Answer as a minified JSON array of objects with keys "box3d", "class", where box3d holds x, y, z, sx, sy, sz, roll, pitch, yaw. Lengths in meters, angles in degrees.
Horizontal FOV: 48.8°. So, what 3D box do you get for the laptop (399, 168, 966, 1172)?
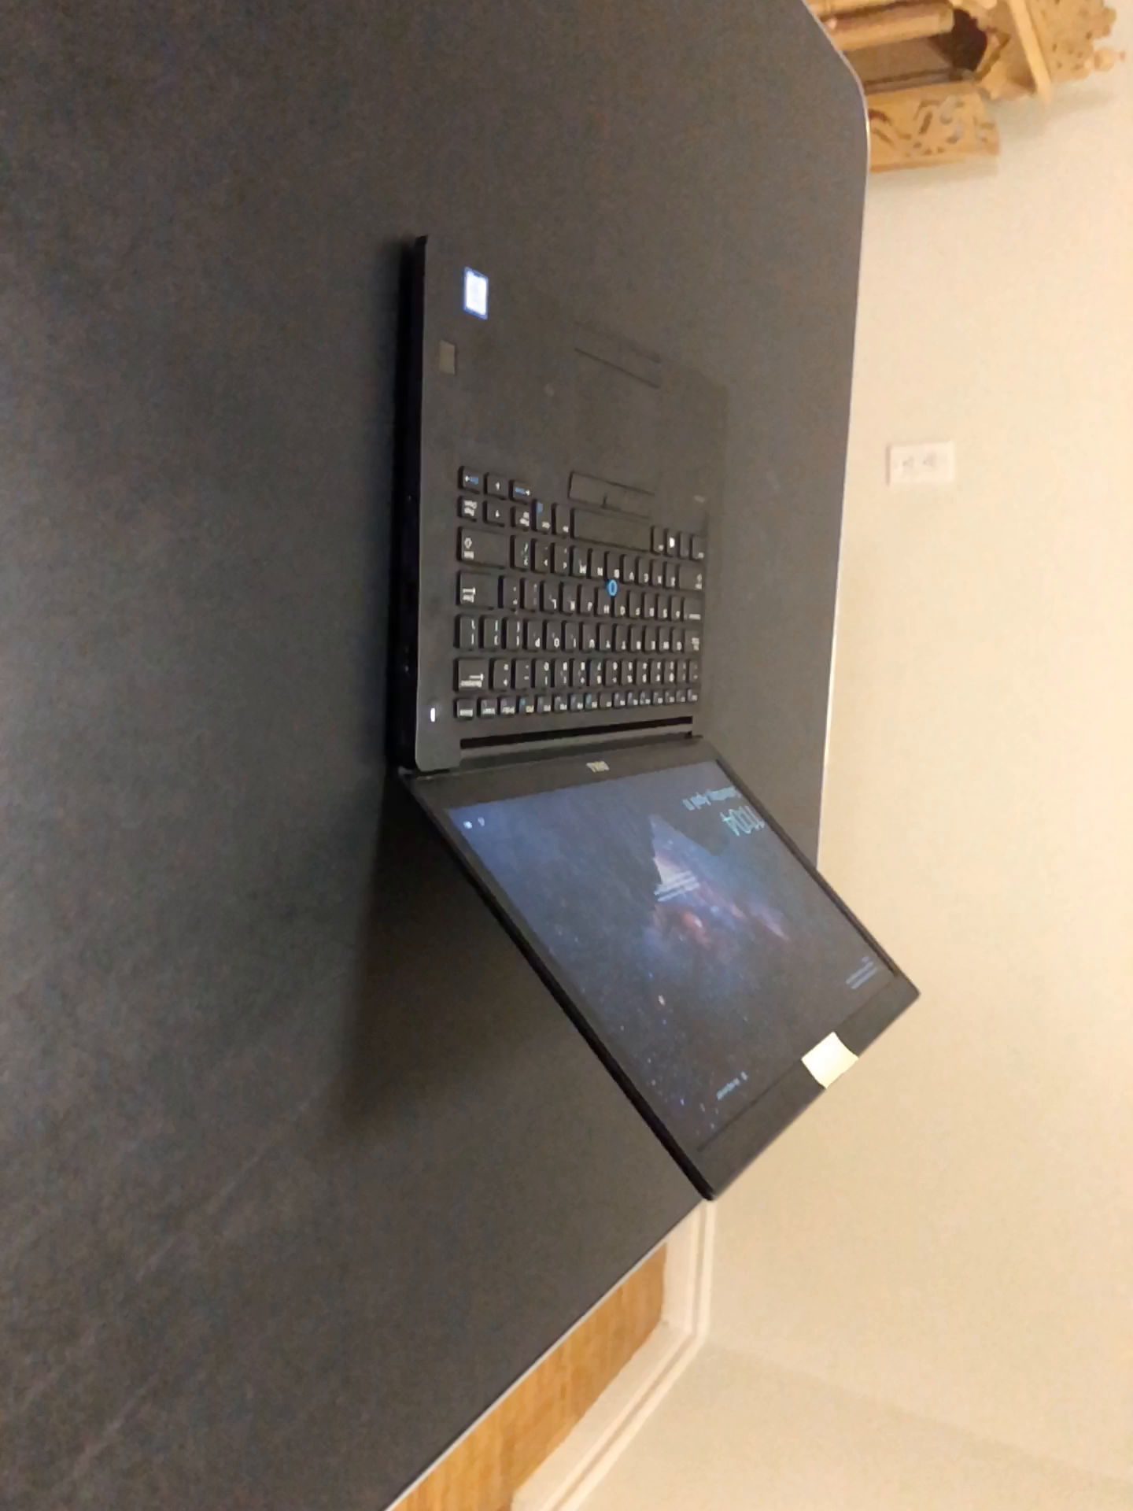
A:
[{"box3d":[0.079,-0.040,0.630,0.321,0.140,0.367,-8,103,-61],"class":"laptop"}]
